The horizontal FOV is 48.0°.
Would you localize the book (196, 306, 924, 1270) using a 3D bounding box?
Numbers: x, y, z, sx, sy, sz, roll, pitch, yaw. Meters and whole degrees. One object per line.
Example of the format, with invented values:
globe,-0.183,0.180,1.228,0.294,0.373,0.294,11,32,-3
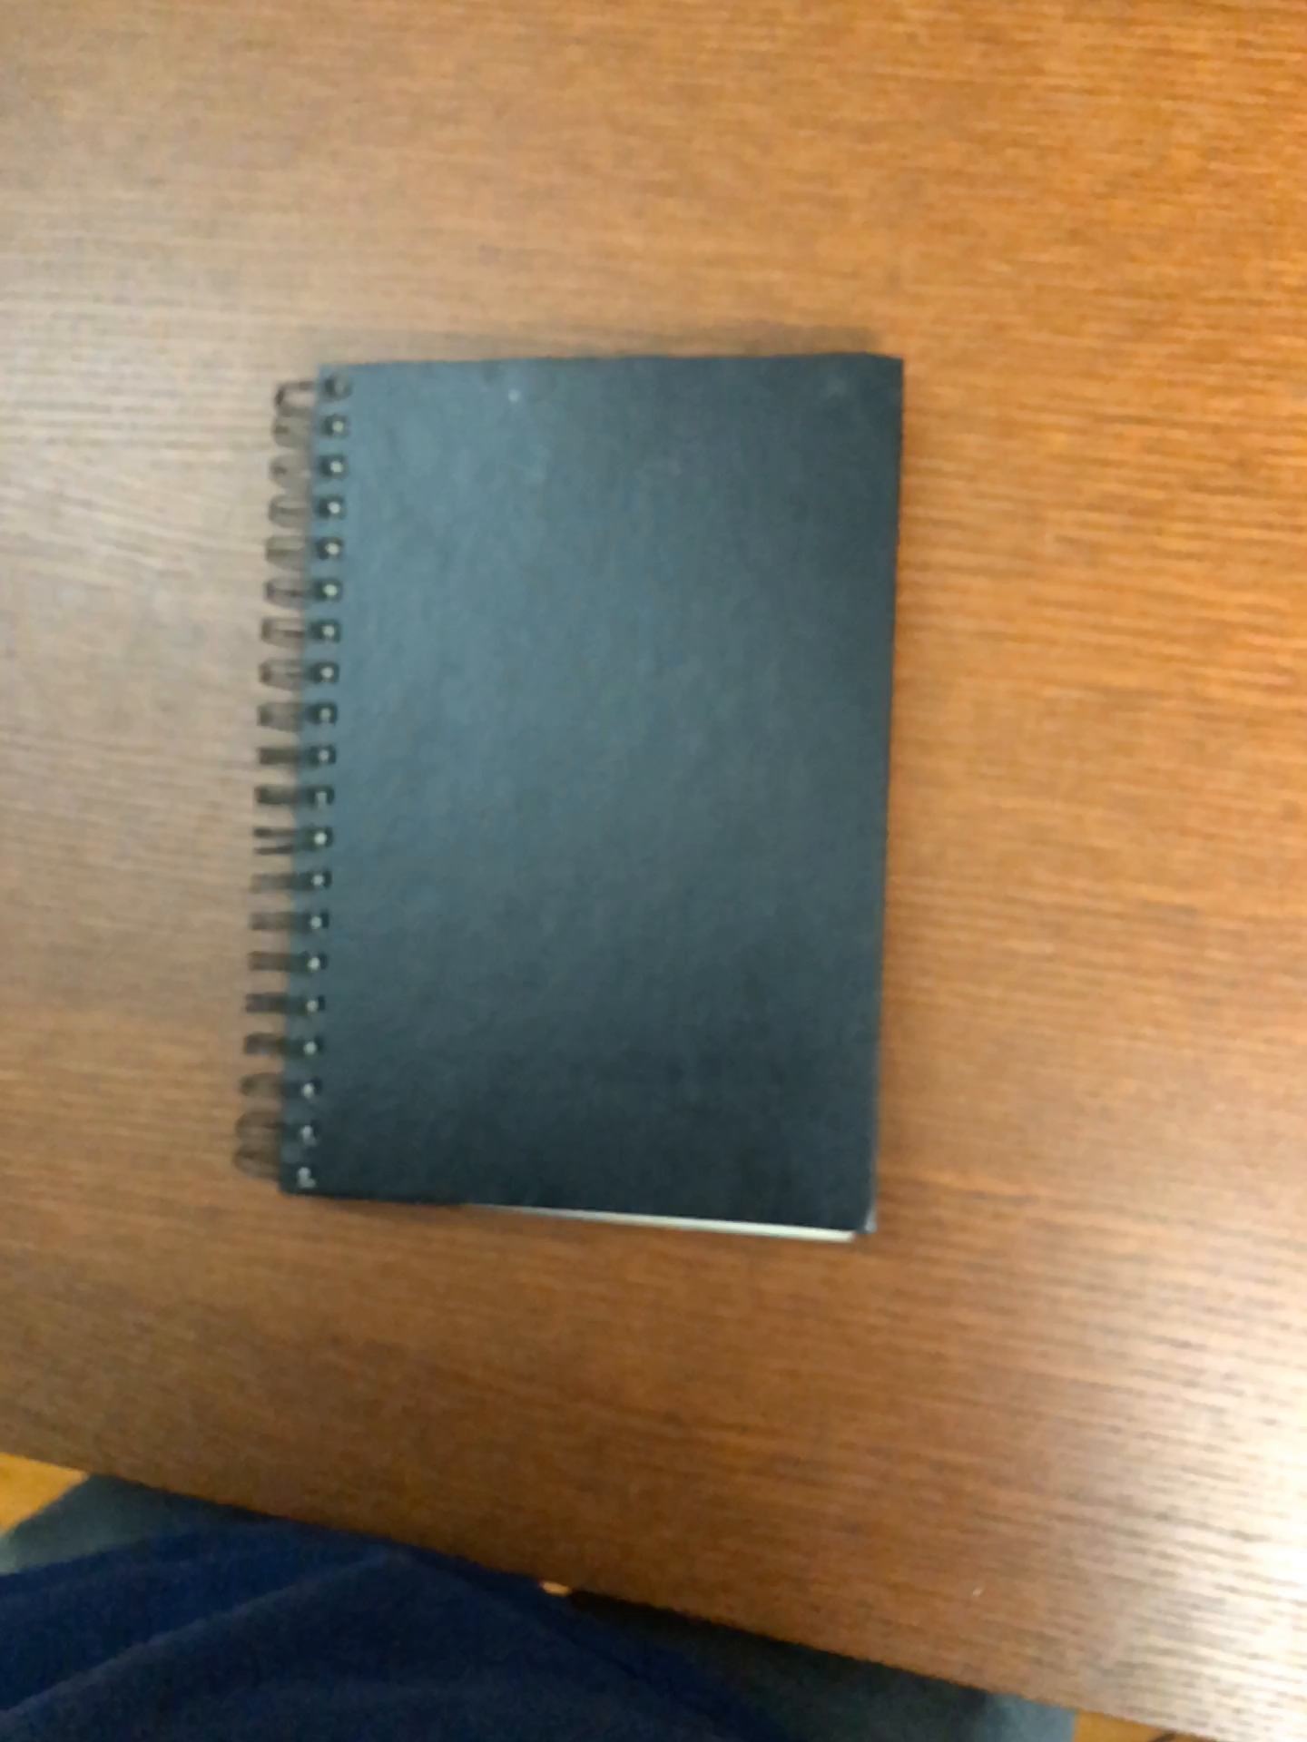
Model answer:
book,-0.026,-0.026,0.425,0.200,0.030,0.260,1,87,9
